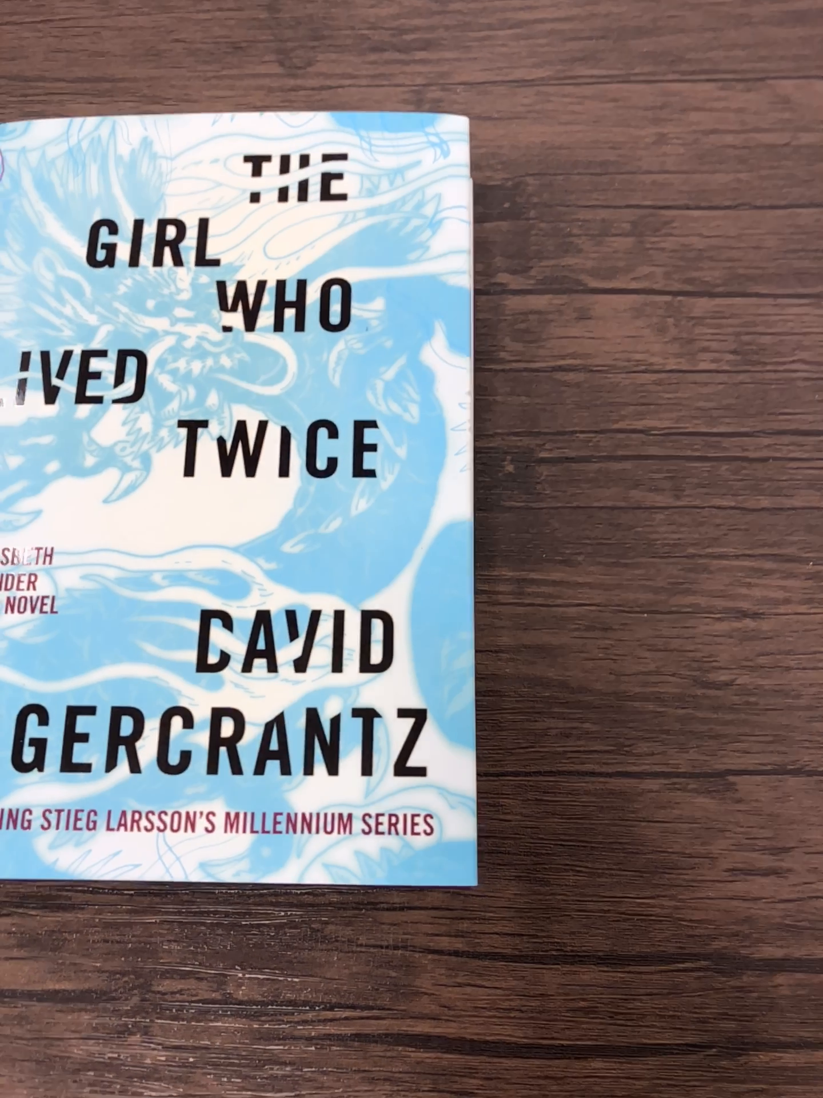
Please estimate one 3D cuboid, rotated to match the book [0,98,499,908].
[{"bbox_3d":[-0.060,-0.022,0.281,0.170,0.040,0.240,0,74,3],"label":"book"}]
